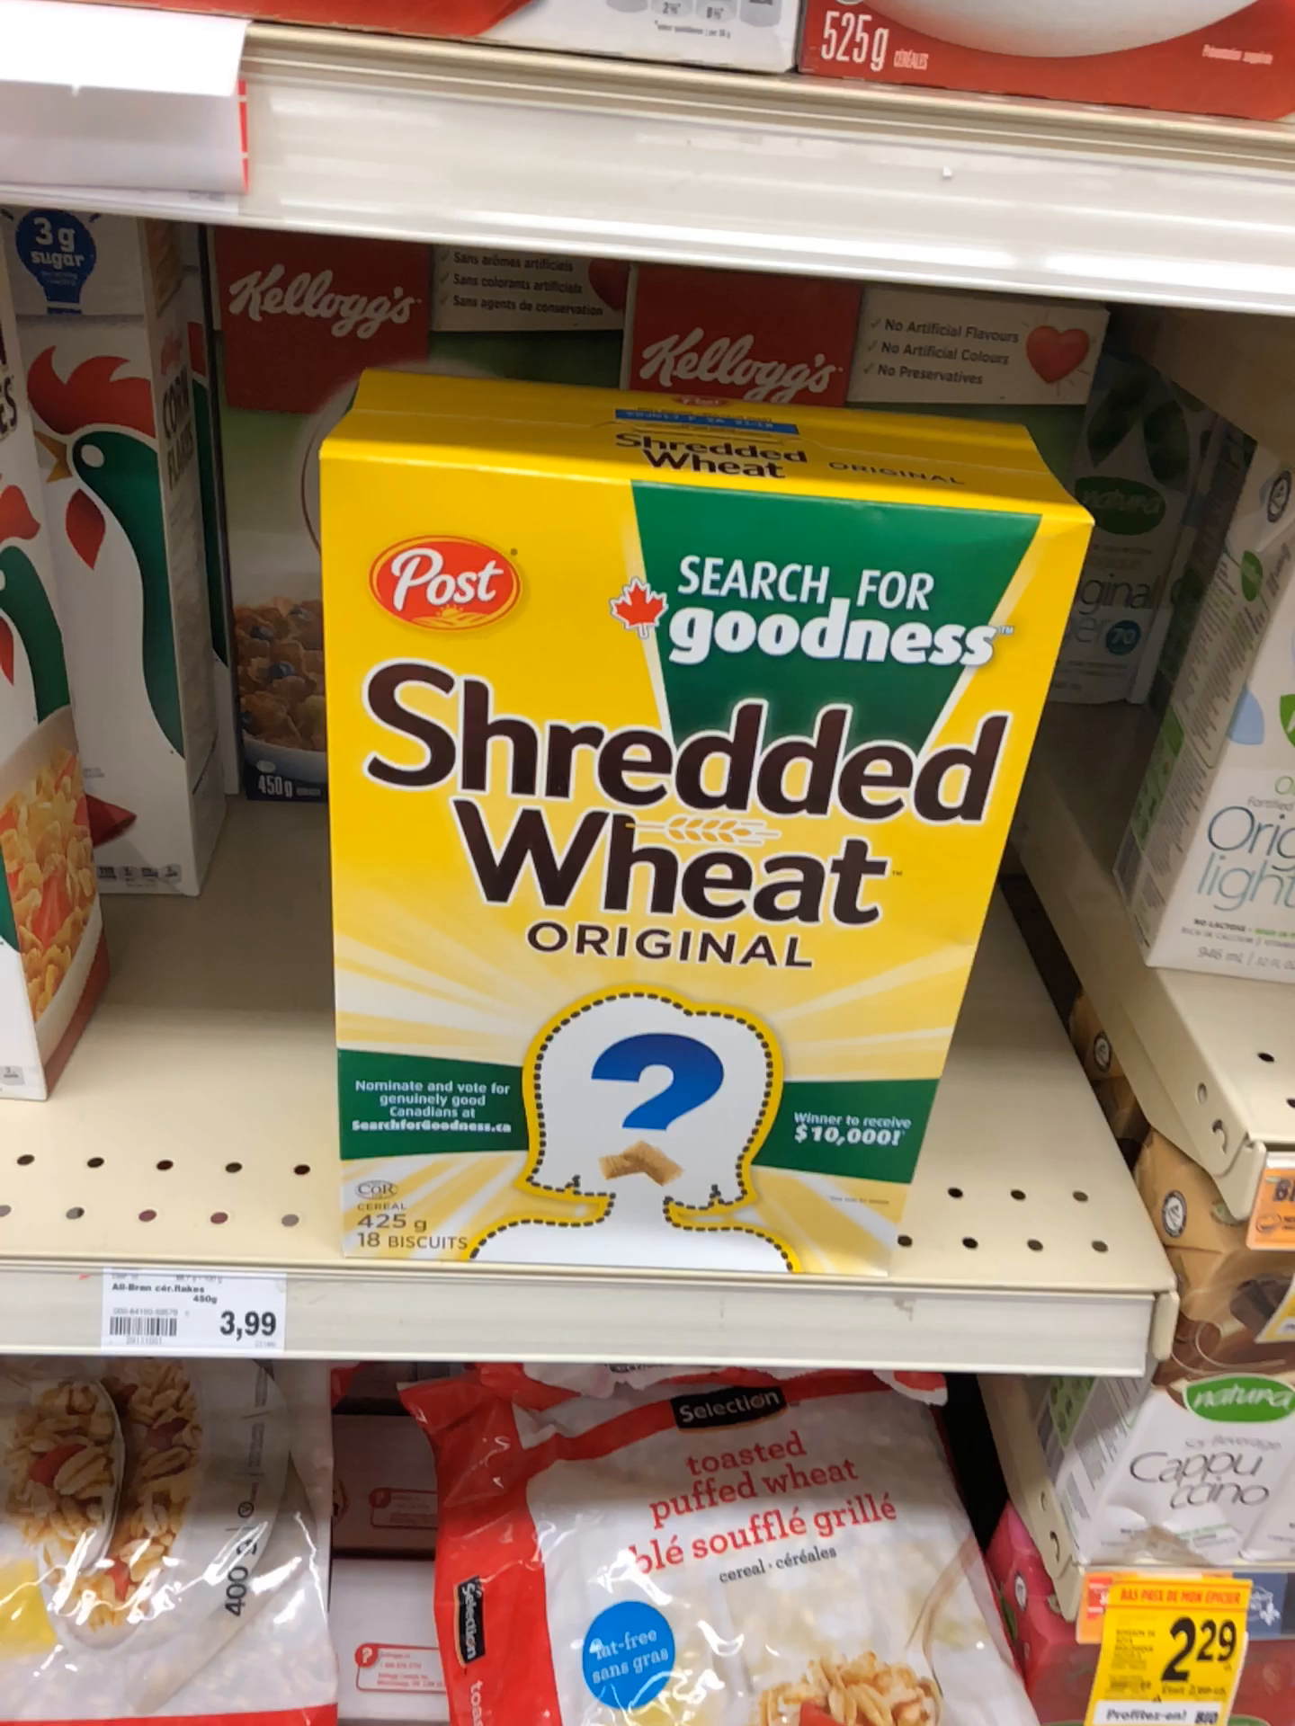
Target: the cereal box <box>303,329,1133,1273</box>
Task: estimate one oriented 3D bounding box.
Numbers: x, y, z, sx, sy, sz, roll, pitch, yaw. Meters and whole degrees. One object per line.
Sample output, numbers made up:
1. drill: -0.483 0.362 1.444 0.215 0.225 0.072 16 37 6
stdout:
1. cereal box: 0.006 -0.002 0.452 0.200 0.288 0.081 3 33 -4
